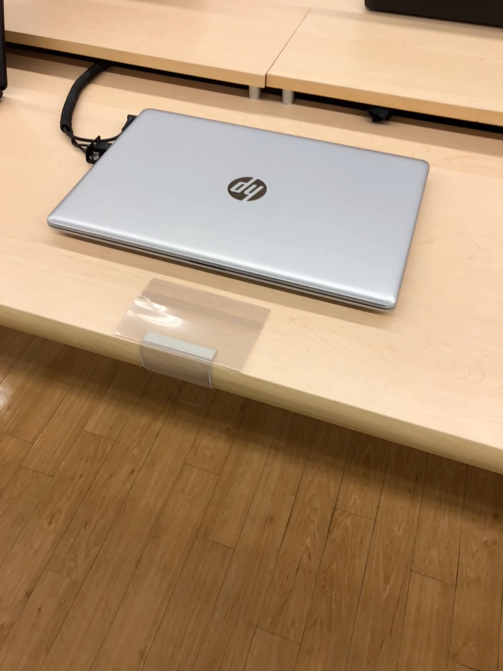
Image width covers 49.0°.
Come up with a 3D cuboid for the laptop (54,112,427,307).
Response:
[{"bbox_3d":[-0.002,-0.176,0.680,0.397,0.001,0.258,15,53,12],"label":"laptop"}]
